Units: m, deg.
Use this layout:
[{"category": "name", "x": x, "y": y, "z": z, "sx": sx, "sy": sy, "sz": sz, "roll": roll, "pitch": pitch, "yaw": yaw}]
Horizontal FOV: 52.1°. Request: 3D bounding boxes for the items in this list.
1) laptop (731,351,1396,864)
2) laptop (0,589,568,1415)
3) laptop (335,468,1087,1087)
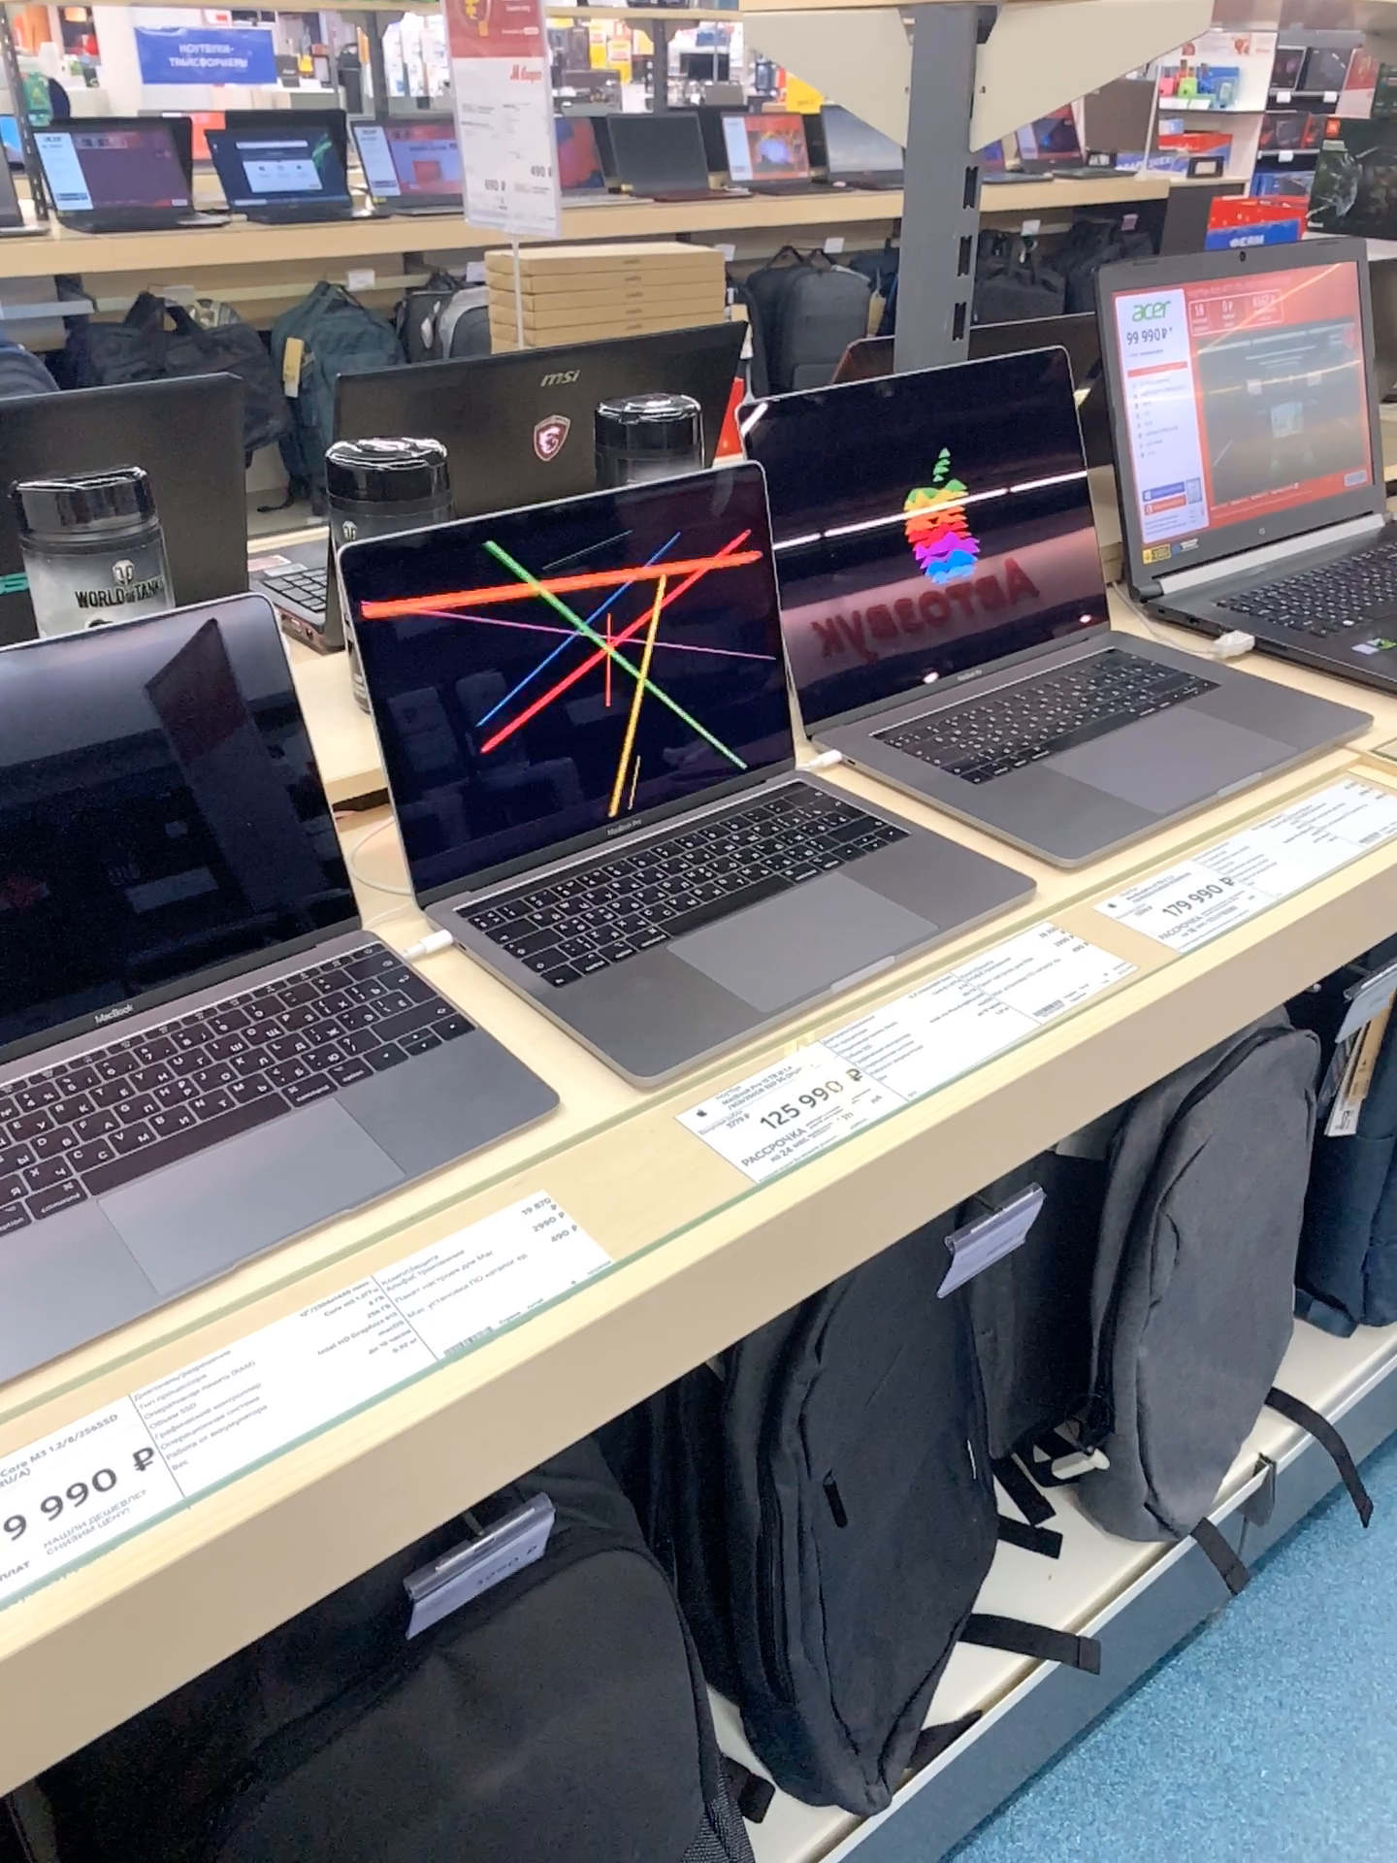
[{"category": "laptop", "x": 0.262, "y": -0.258, "z": 1.021, "sx": 0.347, "sy": 0.210, "sz": 0.328, "roll": -23, "pitch": 38, "yaw": -32}, {"category": "laptop", "x": -0.253, "y": -0.003, "z": 0.641, "sx": 0.281, "sy": 0.172, "sz": 0.266, "roll": -24, "pitch": 40, "yaw": -34}, {"category": "laptop", "x": 0.006, "y": -0.112, "z": 0.804, "sx": 0.300, "sy": 0.195, "sz": 0.260, "roll": -23, "pitch": 39, "yaw": -34}]
